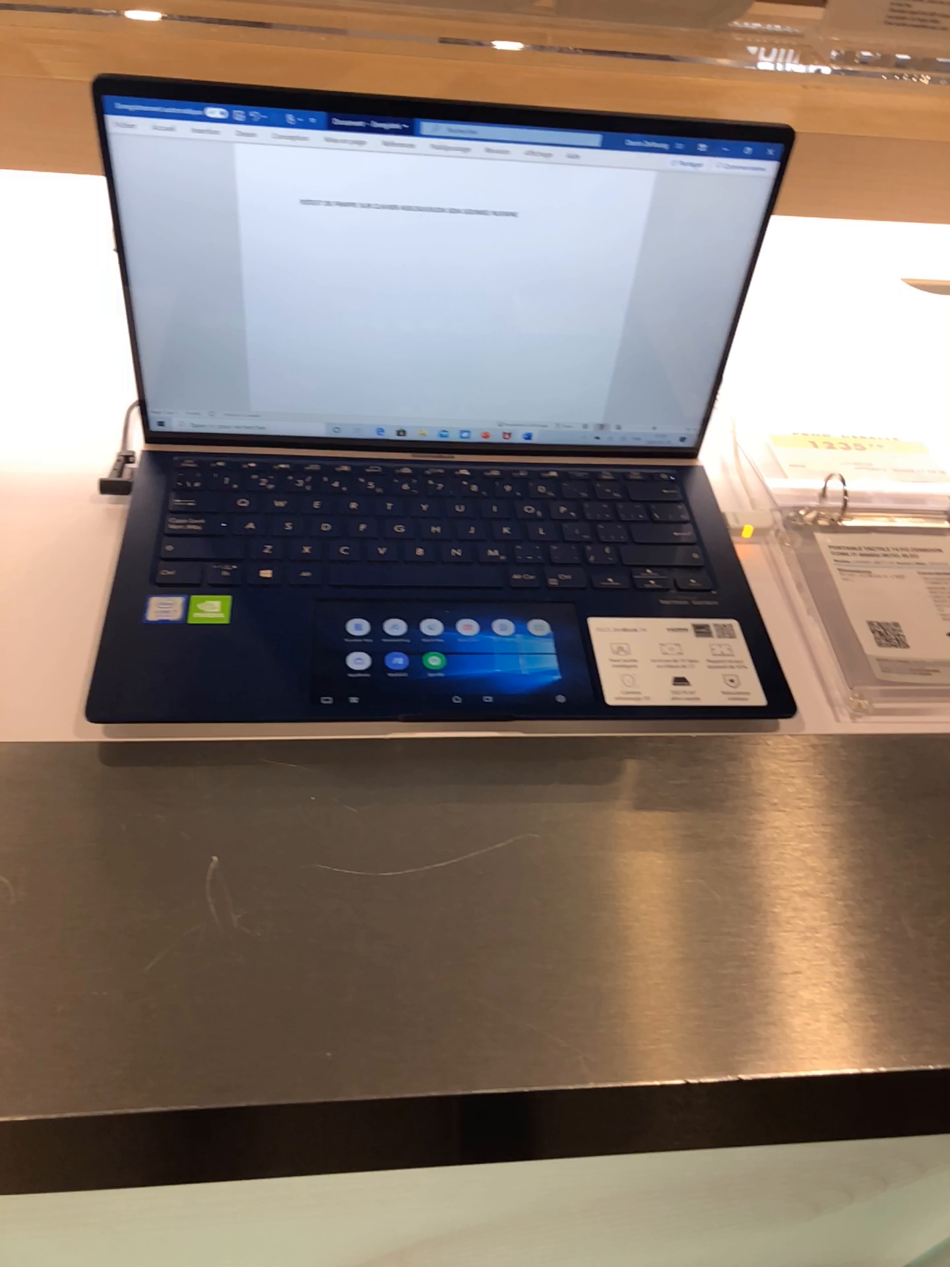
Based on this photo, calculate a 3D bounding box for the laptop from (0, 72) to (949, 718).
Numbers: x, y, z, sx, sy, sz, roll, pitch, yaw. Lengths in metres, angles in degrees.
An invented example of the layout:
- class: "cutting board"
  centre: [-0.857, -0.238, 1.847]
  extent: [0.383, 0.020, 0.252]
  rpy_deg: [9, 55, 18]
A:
- class: "laptop"
  centre: [-0.008, -0.101, 0.462]
  extent: [0.317, 0.193, 0.200]
  rpy_deg: [0, 46, -8]
